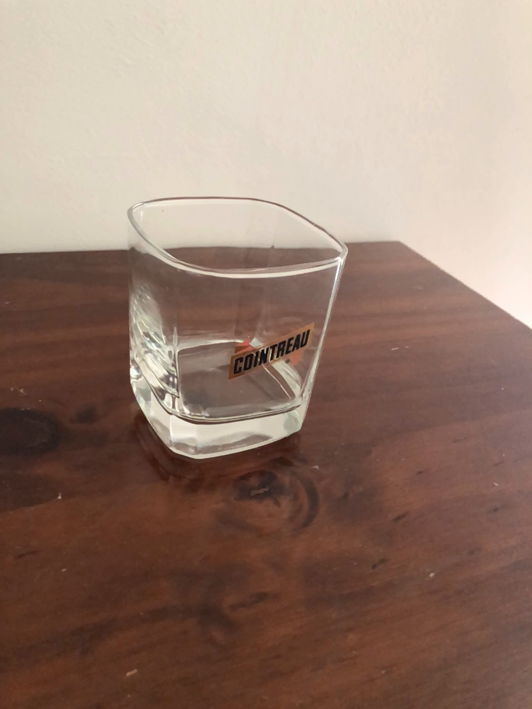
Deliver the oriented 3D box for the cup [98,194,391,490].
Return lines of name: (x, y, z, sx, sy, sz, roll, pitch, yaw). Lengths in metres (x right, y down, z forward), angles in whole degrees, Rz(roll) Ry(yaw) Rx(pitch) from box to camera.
cup: (-0.016, -0.012, 0.249, 0.087, 0.085, 0.081, 7, 31, -4)
